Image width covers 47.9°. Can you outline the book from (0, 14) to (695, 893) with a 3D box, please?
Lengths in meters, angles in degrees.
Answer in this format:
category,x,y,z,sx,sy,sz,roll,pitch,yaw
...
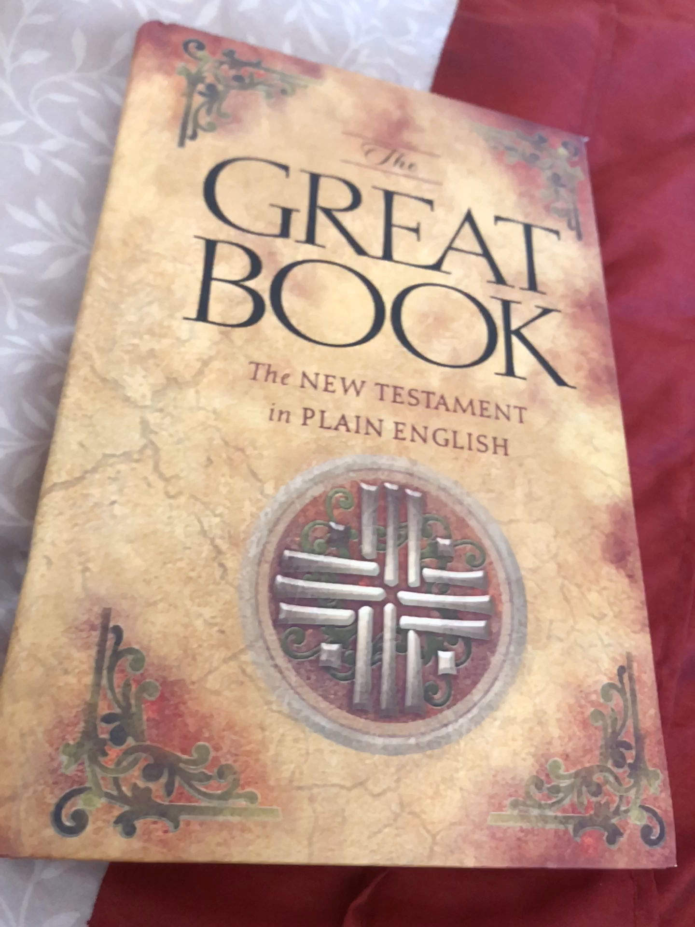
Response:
category,x,y,z,sx,sy,sz,roll,pitch,yaw
book,0.009,-0.010,0.216,0.161,0.040,0.221,8,66,-13
